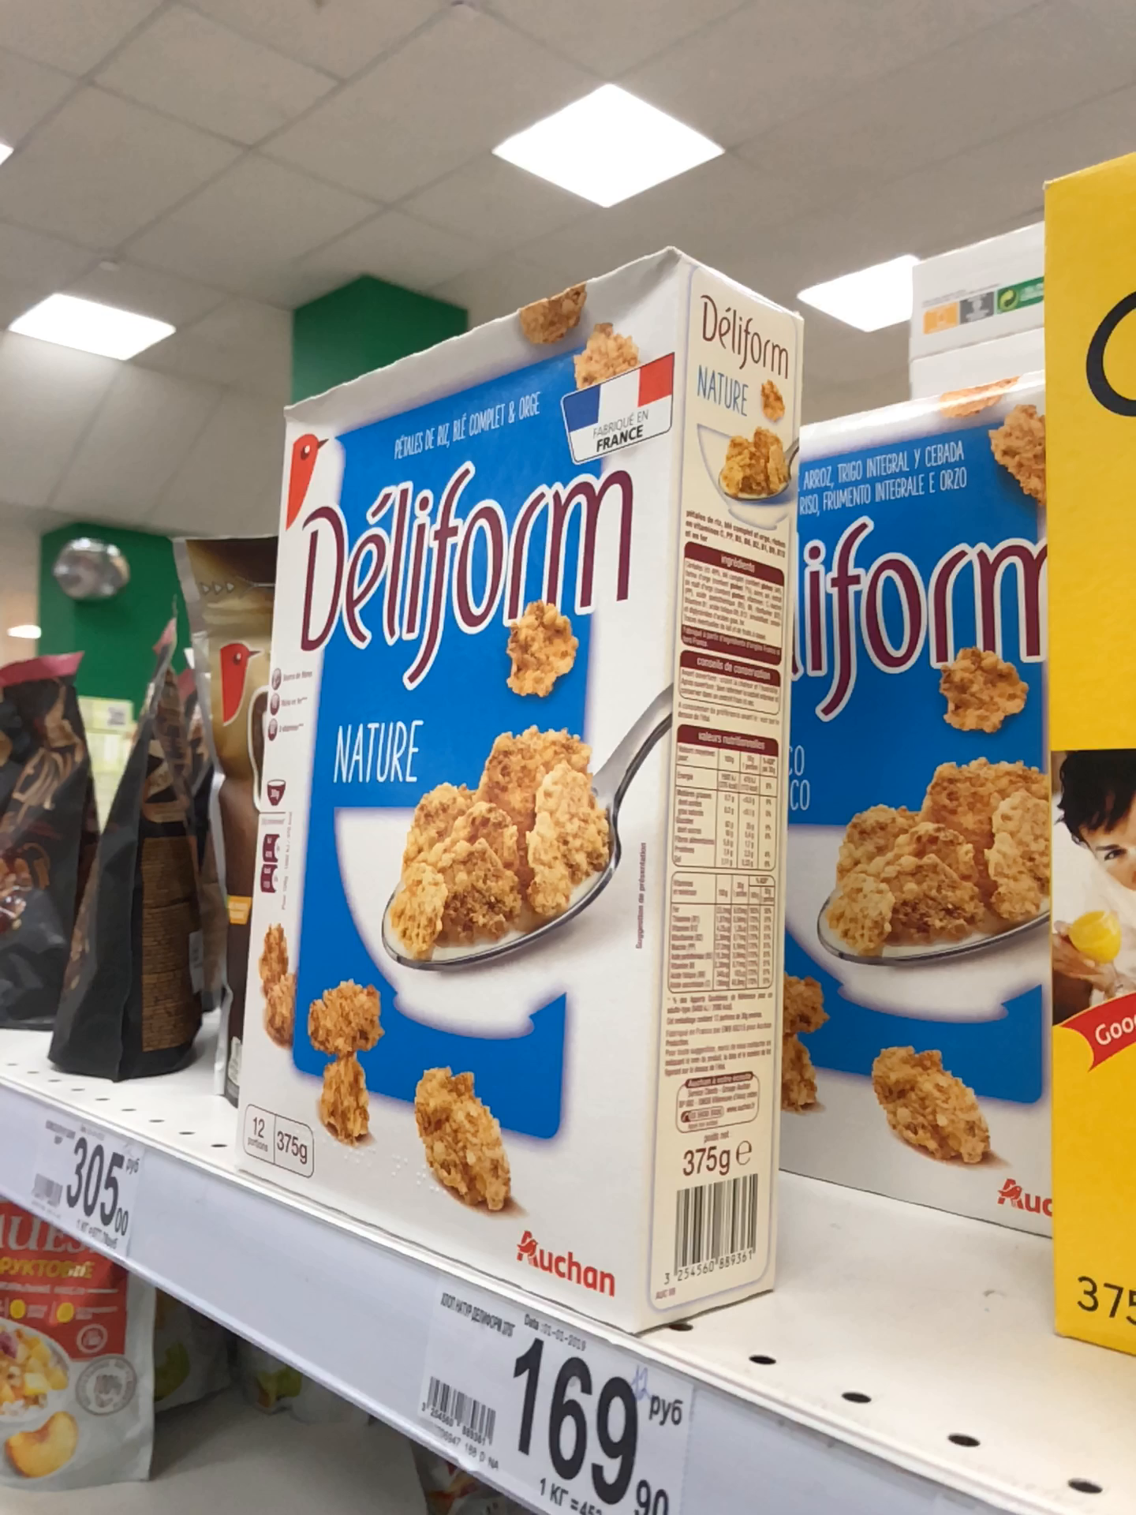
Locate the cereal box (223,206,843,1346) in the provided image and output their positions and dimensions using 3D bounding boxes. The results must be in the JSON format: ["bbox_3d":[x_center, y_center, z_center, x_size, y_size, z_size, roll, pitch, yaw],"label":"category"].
[{"bbox_3d":[-0.020,0.004,0.389,0.060,0.270,0.200,8,-7,-44],"label":"cereal box"}]
